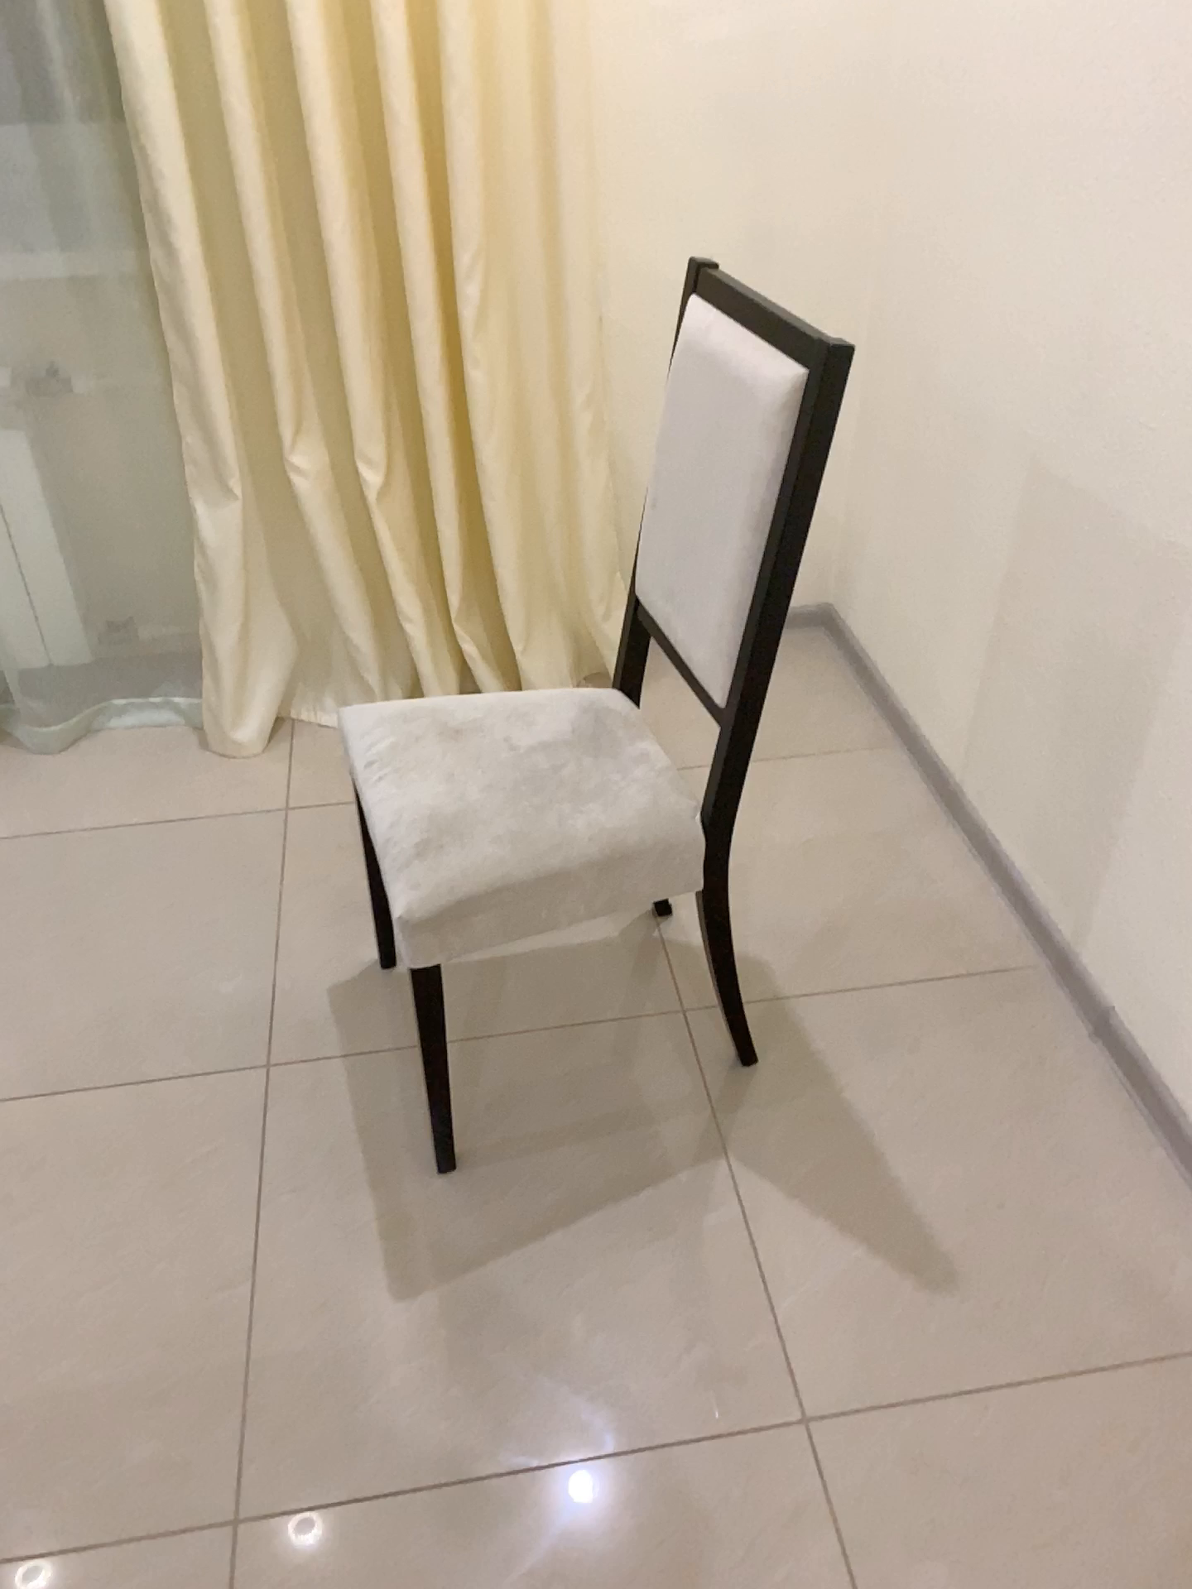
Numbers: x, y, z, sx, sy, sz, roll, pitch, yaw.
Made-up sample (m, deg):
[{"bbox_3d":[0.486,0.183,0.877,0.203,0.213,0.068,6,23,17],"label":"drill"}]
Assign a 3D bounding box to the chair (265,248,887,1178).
[{"bbox_3d":[-0.057,-0.096,1.496,0.510,0.964,0.483,-10,35,-15],"label":"chair"}]
